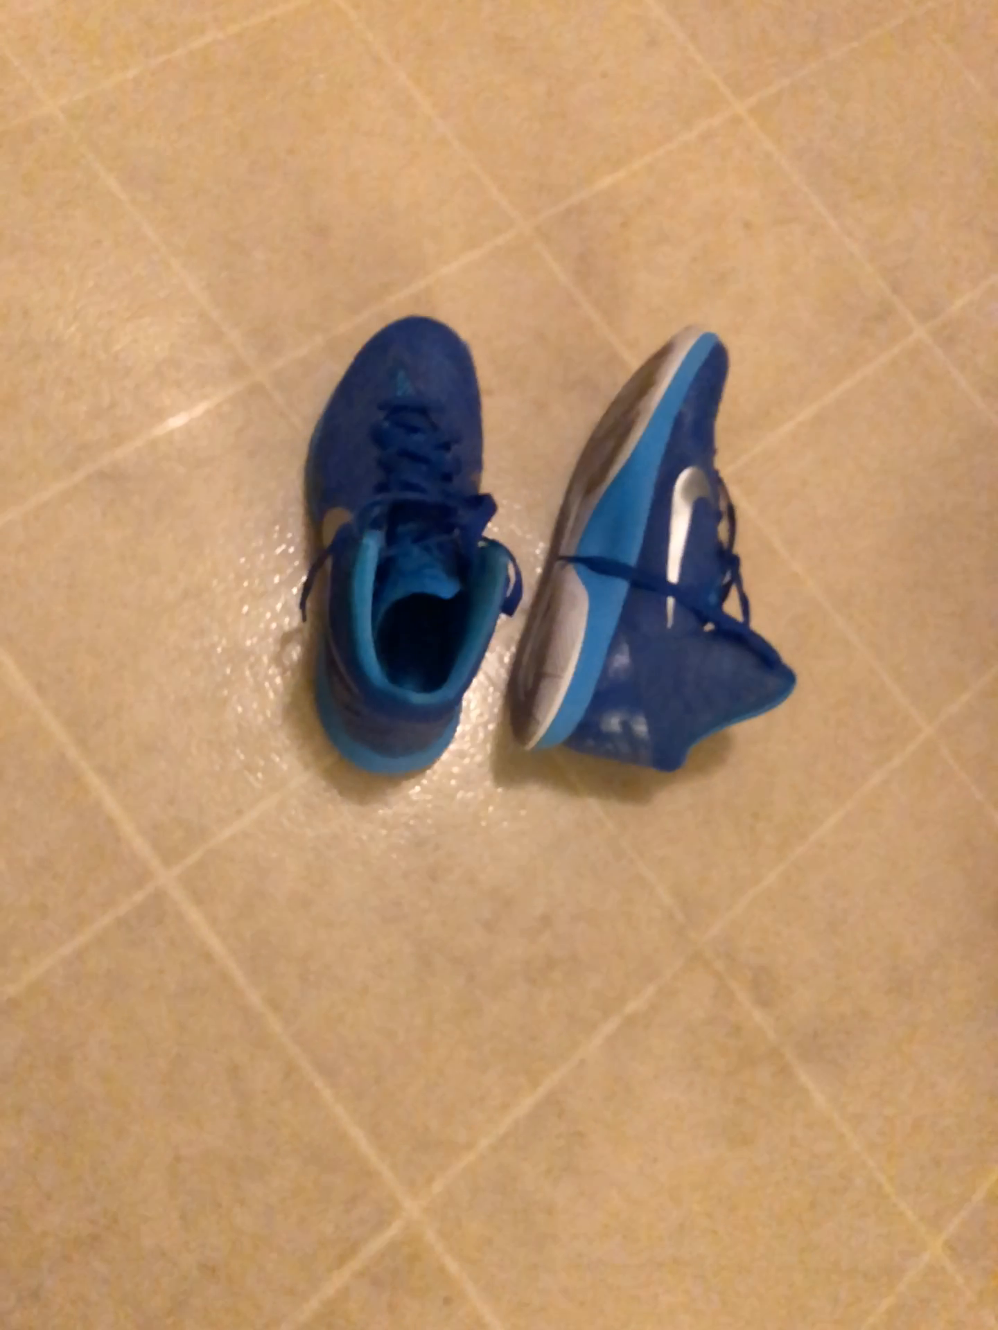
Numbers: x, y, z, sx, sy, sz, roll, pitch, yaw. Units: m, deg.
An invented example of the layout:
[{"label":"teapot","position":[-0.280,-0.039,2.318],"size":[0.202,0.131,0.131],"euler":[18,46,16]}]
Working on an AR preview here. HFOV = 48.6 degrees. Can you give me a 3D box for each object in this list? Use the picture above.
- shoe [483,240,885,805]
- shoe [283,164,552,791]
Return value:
[{"label":"shoe","position":[0.114,-0.079,0.673],"size":[0.159,0.120,0.282],"euler":[18,71,-14]},{"label":"shoe","position":[-0.048,-0.096,0.630],"size":[0.120,0.144,0.311],"euler":[4,74,-13]}]
